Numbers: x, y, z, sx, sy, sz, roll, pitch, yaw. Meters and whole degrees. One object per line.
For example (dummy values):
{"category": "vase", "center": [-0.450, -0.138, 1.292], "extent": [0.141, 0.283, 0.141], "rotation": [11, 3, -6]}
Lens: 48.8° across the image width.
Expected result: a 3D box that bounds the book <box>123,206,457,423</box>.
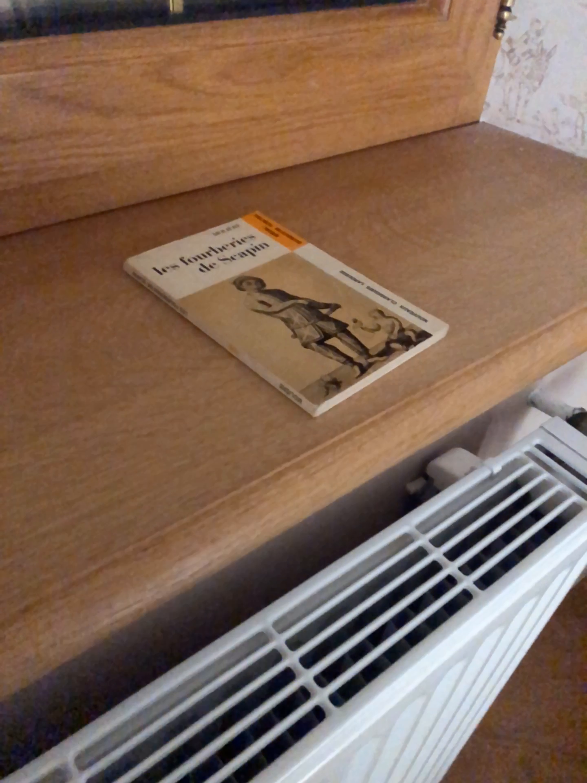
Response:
{"category": "book", "center": [-0.005, -0.060, 0.399], "extent": [0.117, 0.015, 0.174], "rotation": [-30, 53, -34]}
